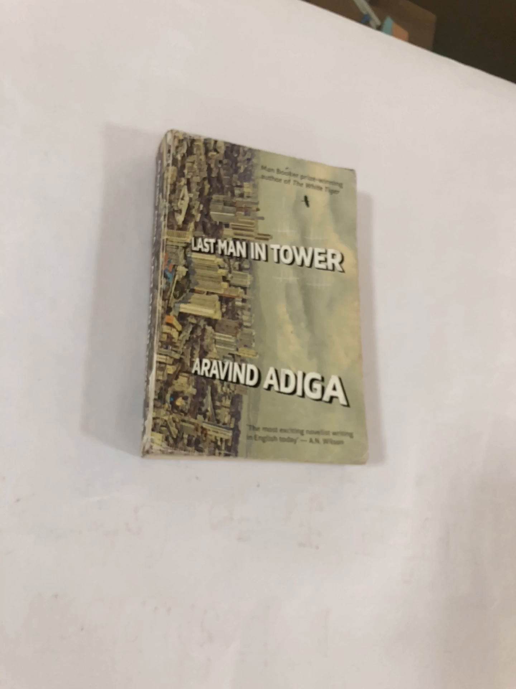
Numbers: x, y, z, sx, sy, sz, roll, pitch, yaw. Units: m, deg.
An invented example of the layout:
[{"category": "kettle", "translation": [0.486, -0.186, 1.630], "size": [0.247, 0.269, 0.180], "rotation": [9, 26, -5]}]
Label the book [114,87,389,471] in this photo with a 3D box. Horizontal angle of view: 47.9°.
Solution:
[{"category": "book", "translation": [-0.002, -0.038, 0.353], "size": [0.150, 0.030, 0.220], "rotation": [6, 72, -19]}]
